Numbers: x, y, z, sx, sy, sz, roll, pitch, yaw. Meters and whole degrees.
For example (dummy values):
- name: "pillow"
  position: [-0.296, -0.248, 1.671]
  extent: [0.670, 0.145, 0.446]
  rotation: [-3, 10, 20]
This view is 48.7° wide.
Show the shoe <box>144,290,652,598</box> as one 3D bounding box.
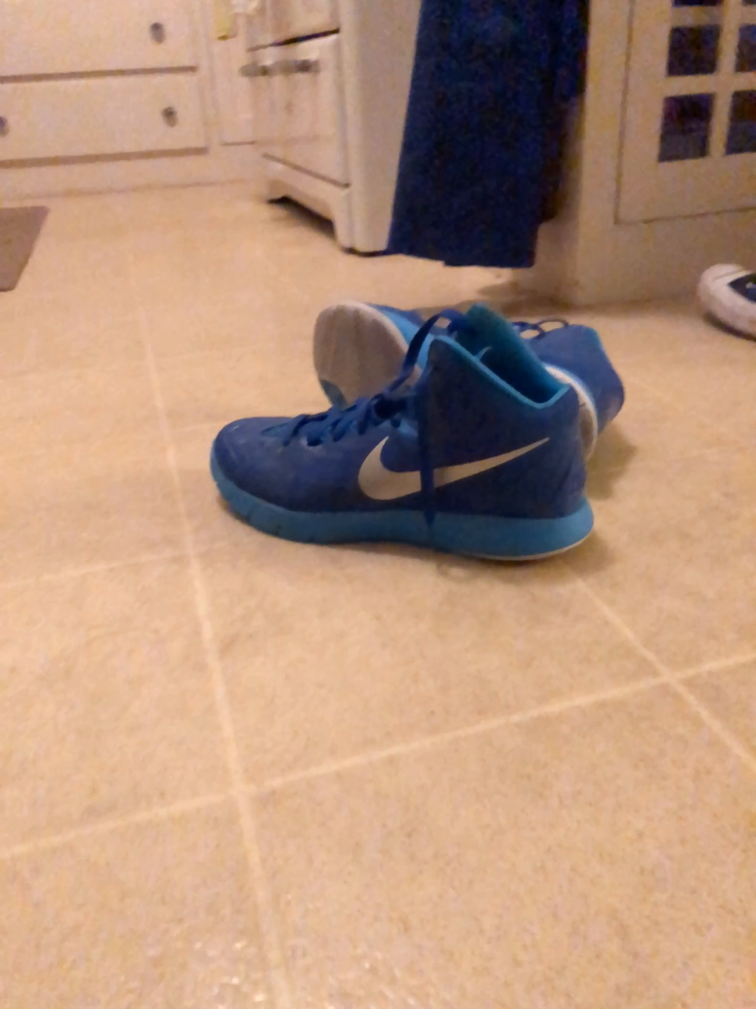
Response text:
- name: "shoe"
  position: [0.015, -0.055, 0.578]
  extent: [0.310, 0.144, 0.121]
  rotation: [8, 30, 22]

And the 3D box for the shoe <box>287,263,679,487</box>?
- name: "shoe"
  position: [0.083, -0.126, 0.716]
  extent: [0.282, 0.119, 0.160]
  rotation: [16, 28, 32]
